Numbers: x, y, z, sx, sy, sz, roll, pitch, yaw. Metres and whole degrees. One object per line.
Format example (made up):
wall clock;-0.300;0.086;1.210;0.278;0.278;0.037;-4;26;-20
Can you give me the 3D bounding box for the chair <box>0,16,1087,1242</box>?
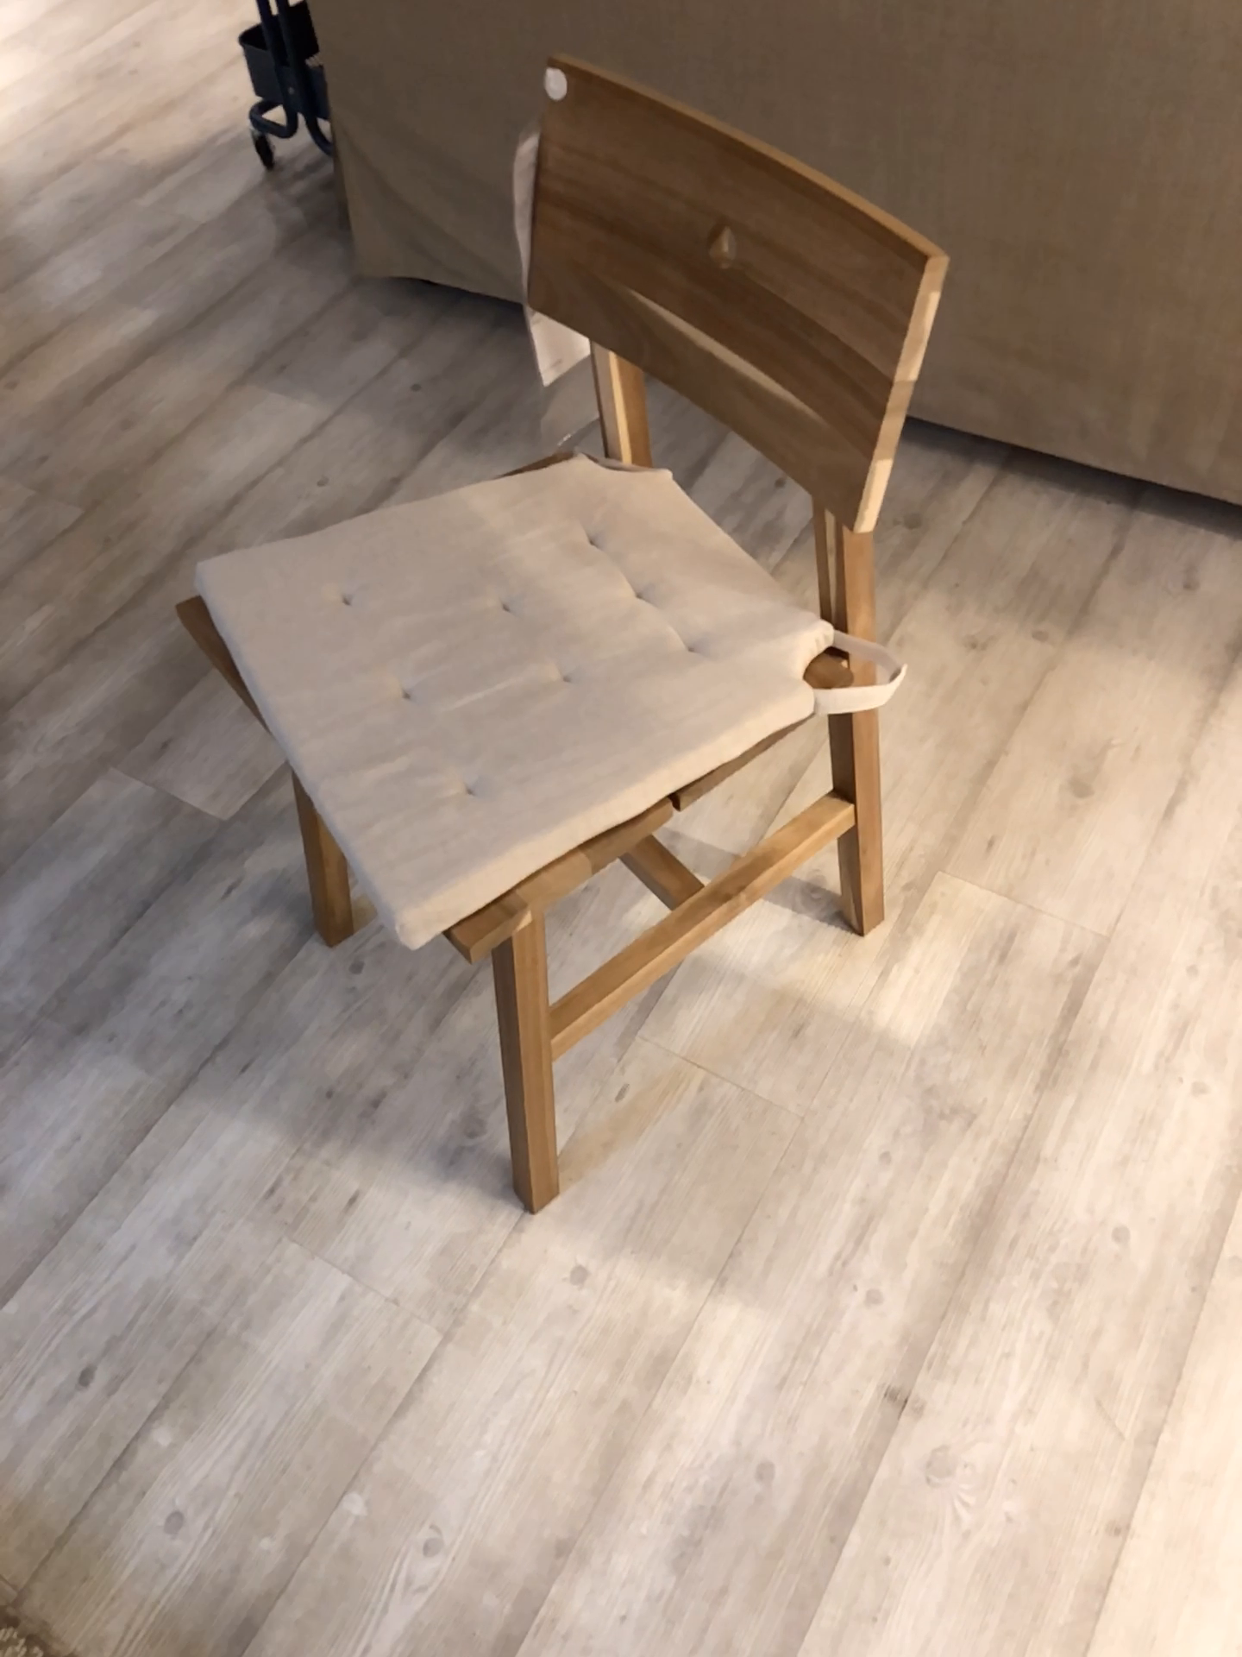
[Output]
chair;-0.075;-0.145;1.053;0.530;0.598;0.501;-34;57;-19
